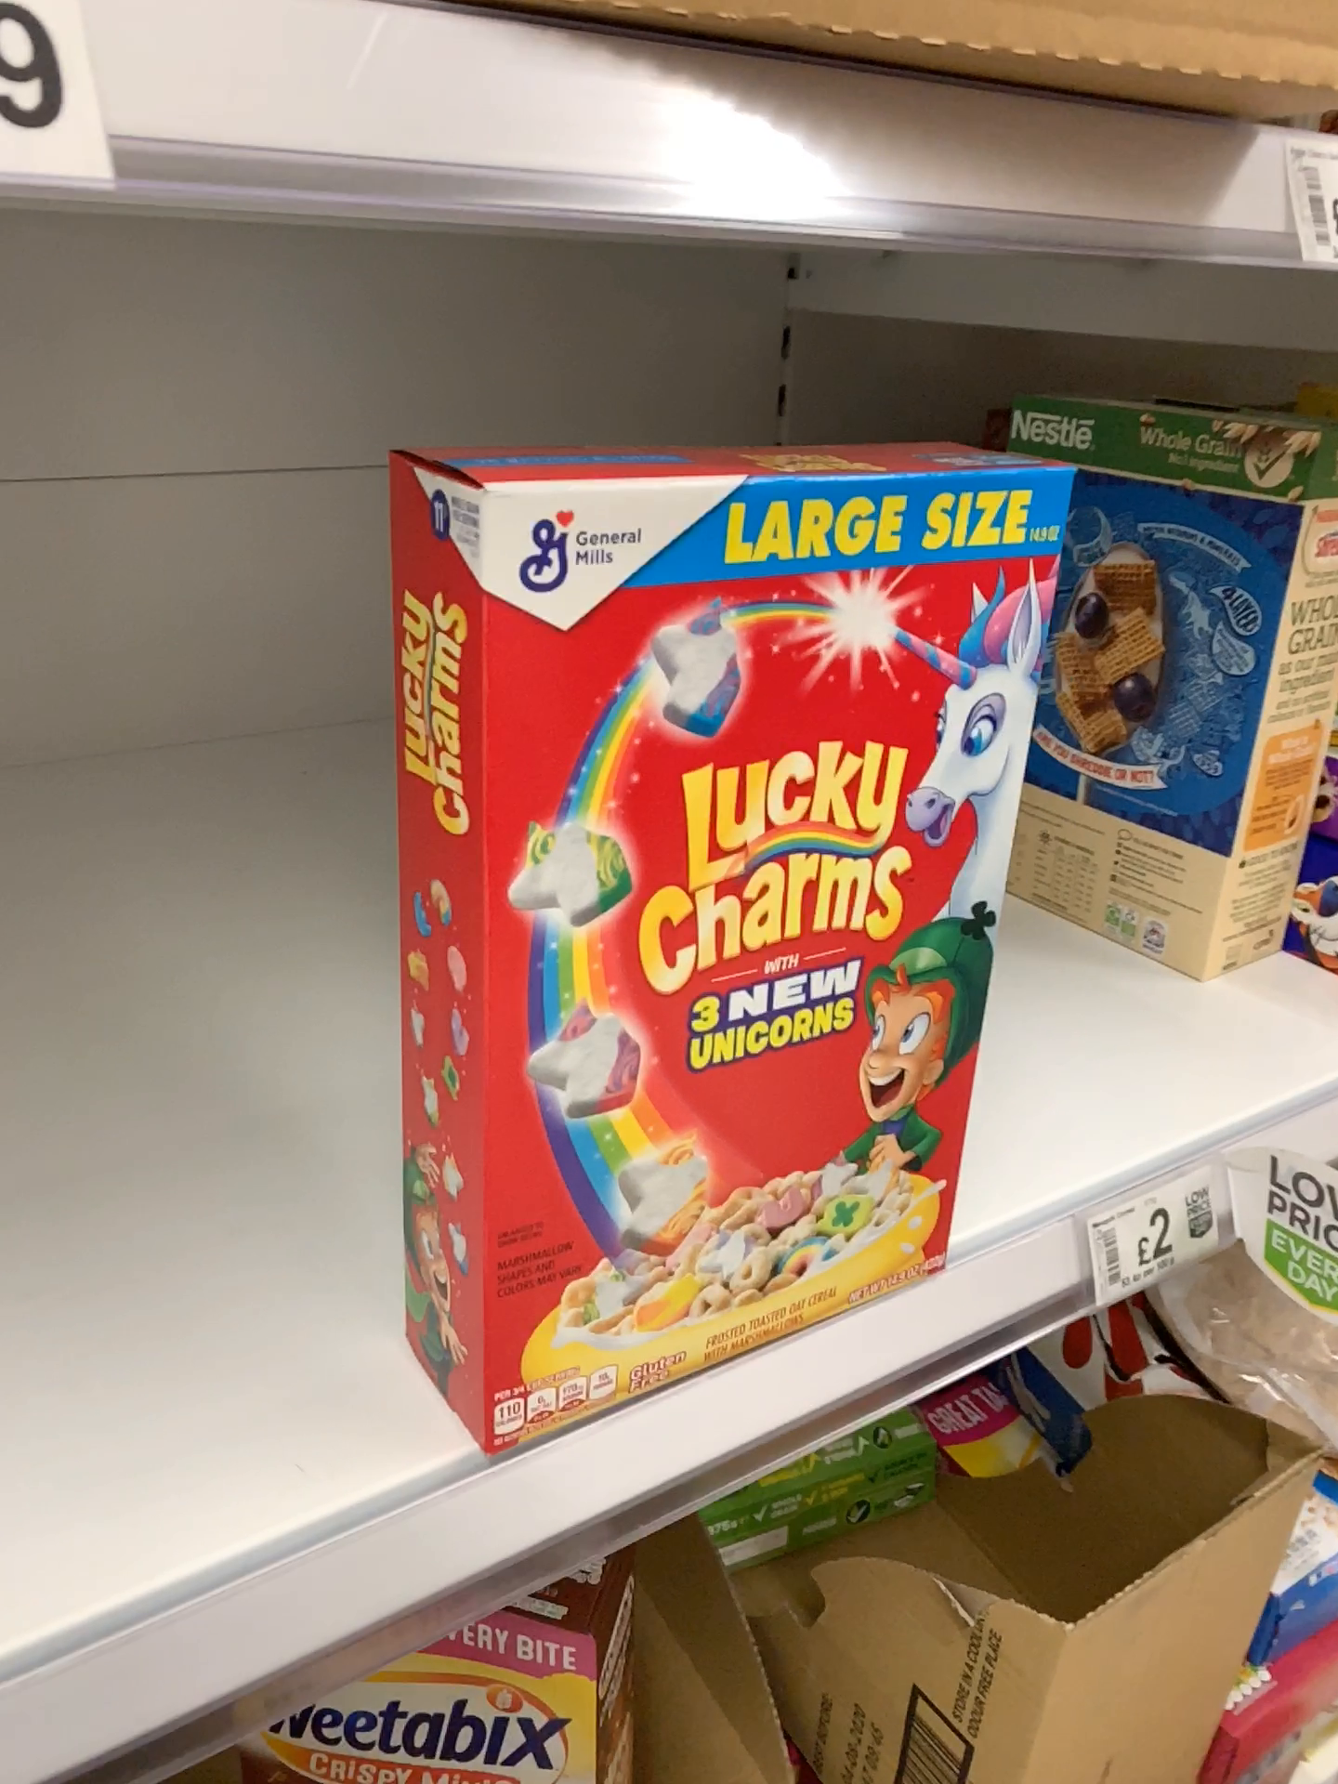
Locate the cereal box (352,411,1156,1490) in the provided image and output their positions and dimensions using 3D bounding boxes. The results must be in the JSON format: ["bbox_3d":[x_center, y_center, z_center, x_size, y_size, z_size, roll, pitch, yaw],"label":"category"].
[{"bbox_3d":[0.023,0.009,0.421,0.211,0.288,0.070,-12,27,-30],"label":"cereal box"}]
